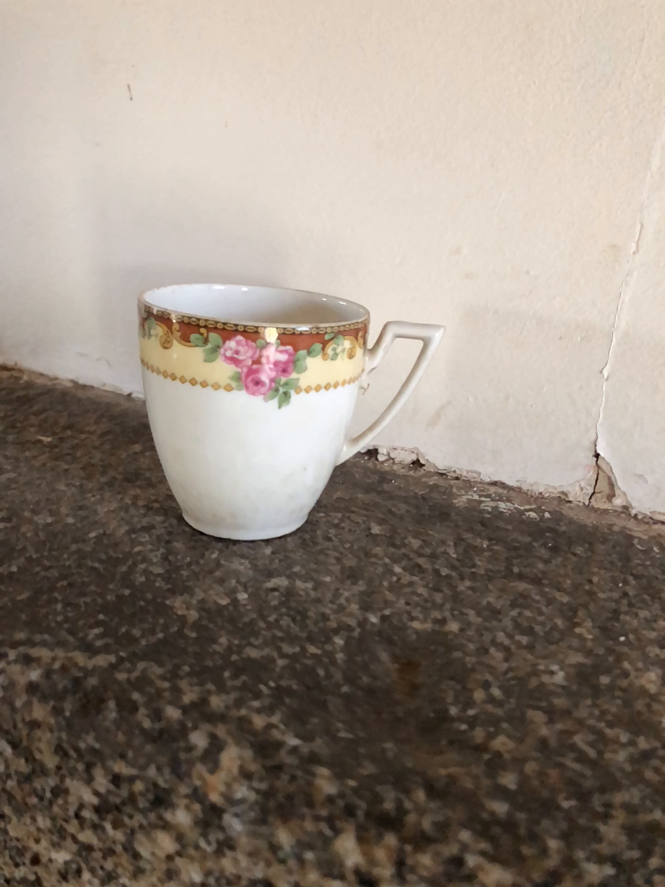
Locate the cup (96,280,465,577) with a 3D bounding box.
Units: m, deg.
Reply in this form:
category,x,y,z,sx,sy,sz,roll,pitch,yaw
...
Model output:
category,x,y,z,sx,sy,sz,roll,pitch,yaw
cup,-0.010,-0.010,0.221,0.090,0.060,0.070,7,20,9
